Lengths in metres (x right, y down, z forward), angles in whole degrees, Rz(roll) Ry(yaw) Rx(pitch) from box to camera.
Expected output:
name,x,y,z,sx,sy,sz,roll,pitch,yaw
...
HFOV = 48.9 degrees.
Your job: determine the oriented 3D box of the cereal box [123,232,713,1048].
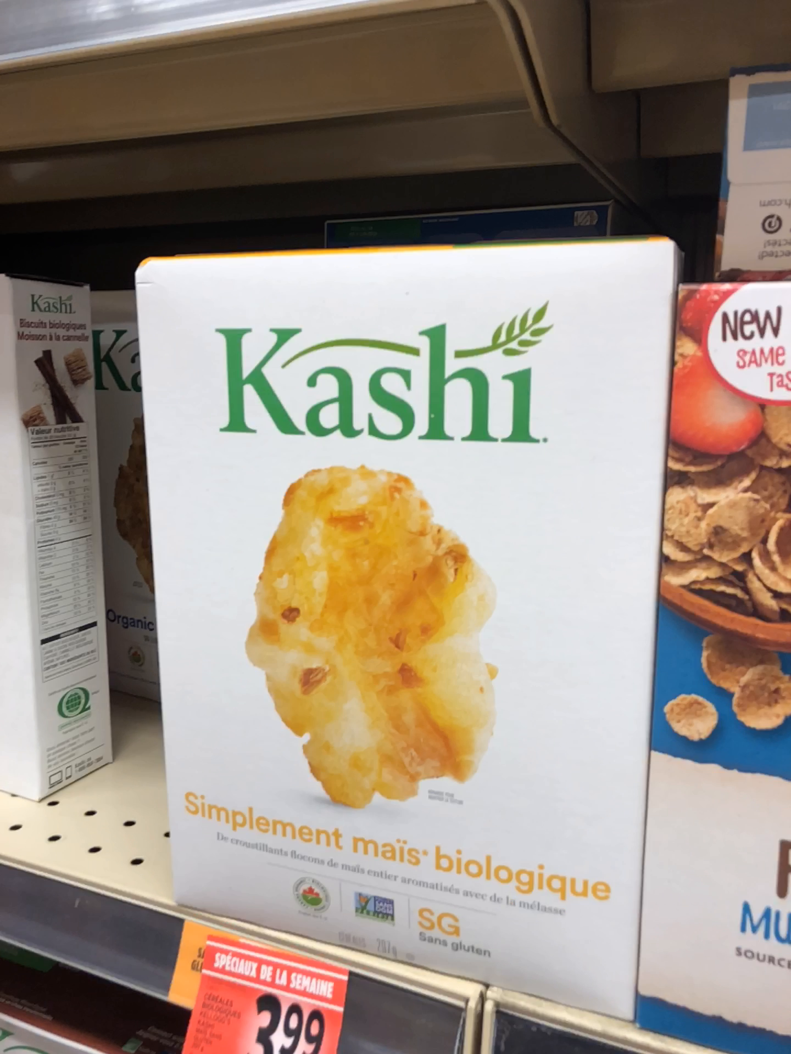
name,x,y,z,sx,sy,sz,roll,pitch,yaw
cereal box,0.006,0.035,0.335,0.200,0.269,0.060,4,13,21
